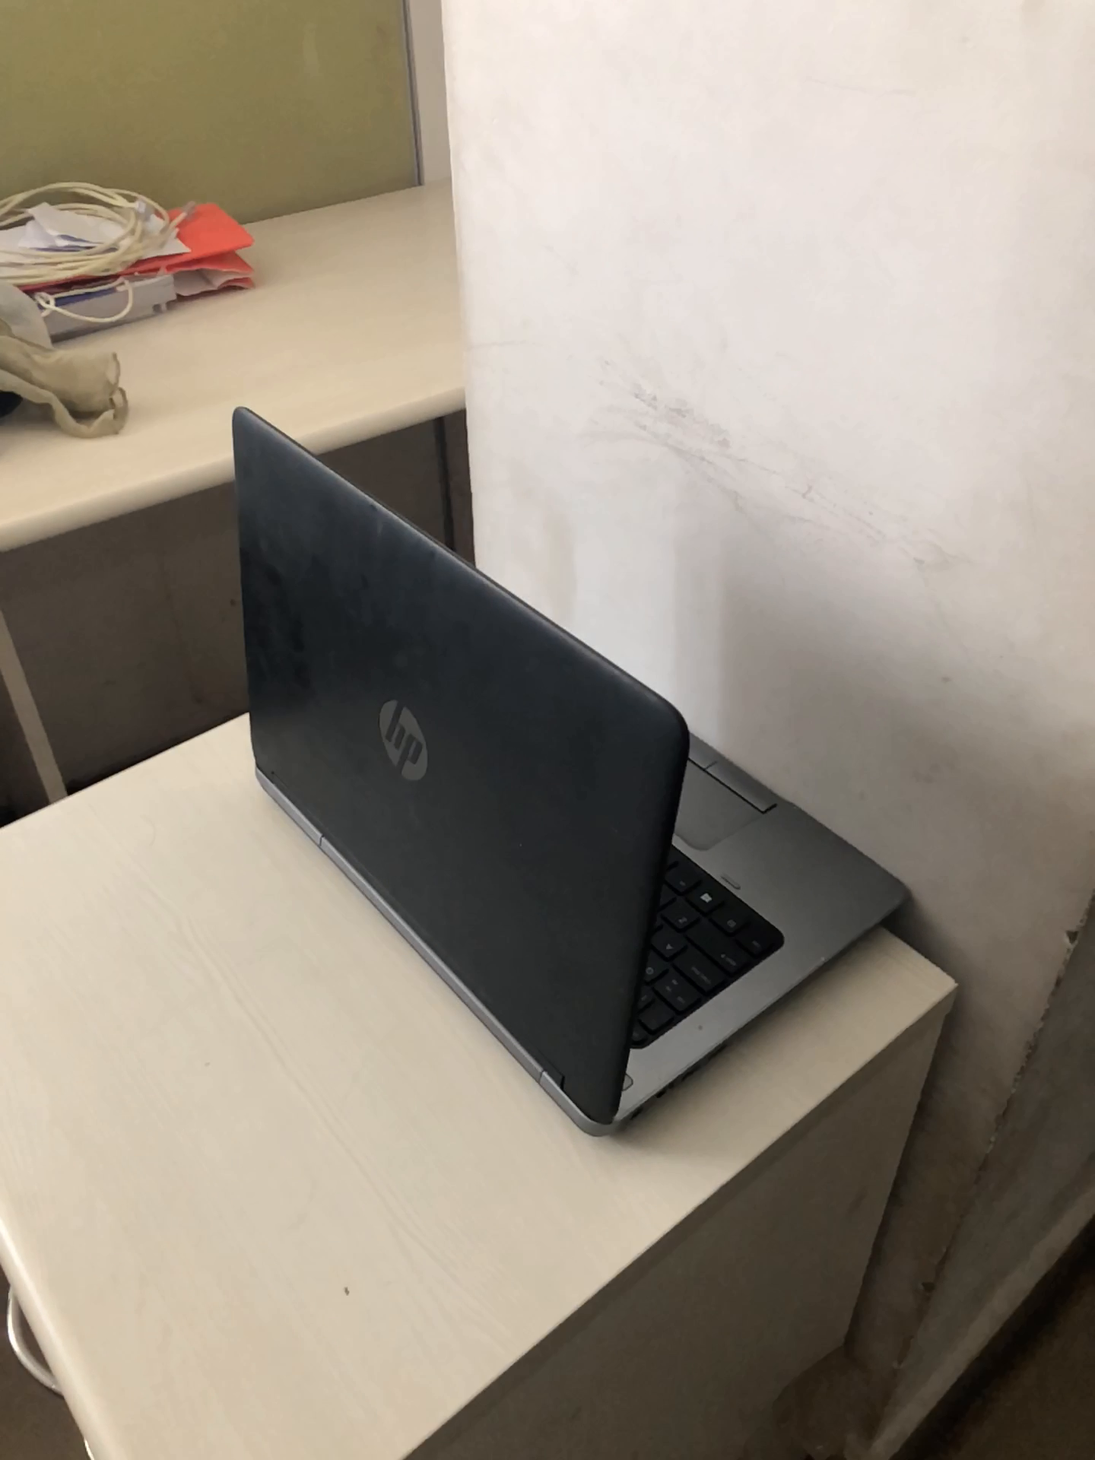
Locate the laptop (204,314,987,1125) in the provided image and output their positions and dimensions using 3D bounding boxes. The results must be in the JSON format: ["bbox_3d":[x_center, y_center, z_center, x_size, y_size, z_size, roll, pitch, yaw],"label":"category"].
[{"bbox_3d":[0.008,-0.027,0.632,0.204,0.226,0.318,-29,48,-27],"label":"laptop"}]
